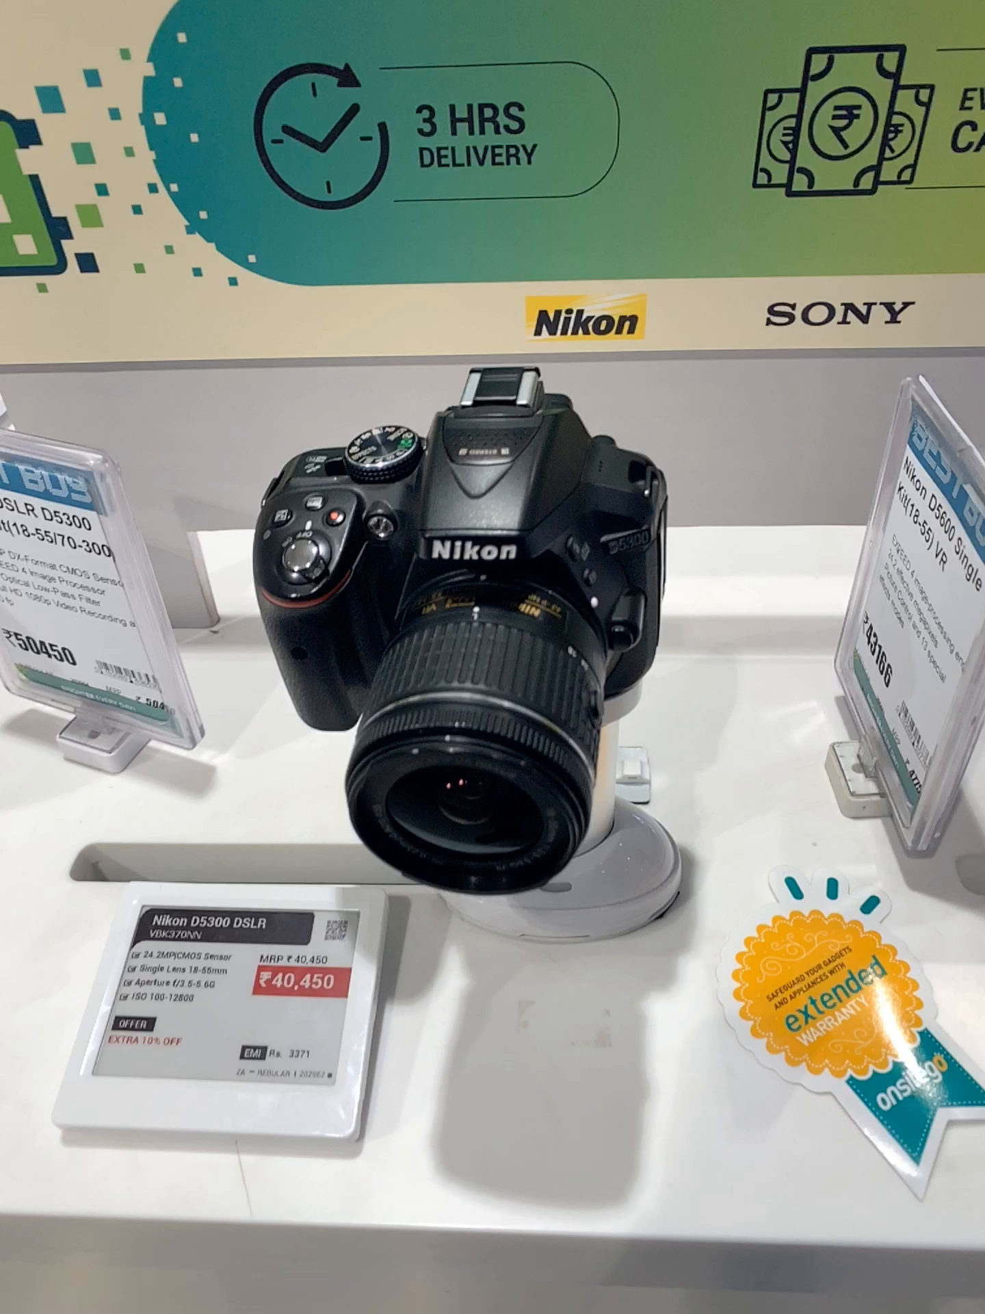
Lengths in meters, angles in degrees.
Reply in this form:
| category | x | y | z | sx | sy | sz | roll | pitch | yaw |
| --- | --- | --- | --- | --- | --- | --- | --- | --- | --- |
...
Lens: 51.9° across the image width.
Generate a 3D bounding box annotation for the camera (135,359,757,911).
| category | x | y | z | sx | sy | sz | roll | pitch | yaw |
| --- | --- | --- | --- | --- | --- | --- | --- | --- | --- |
| camera | -0.005 | -0.011 | 0.264 | 0.118 | 0.082 | 0.123 | 0 | 41 | 4 |
